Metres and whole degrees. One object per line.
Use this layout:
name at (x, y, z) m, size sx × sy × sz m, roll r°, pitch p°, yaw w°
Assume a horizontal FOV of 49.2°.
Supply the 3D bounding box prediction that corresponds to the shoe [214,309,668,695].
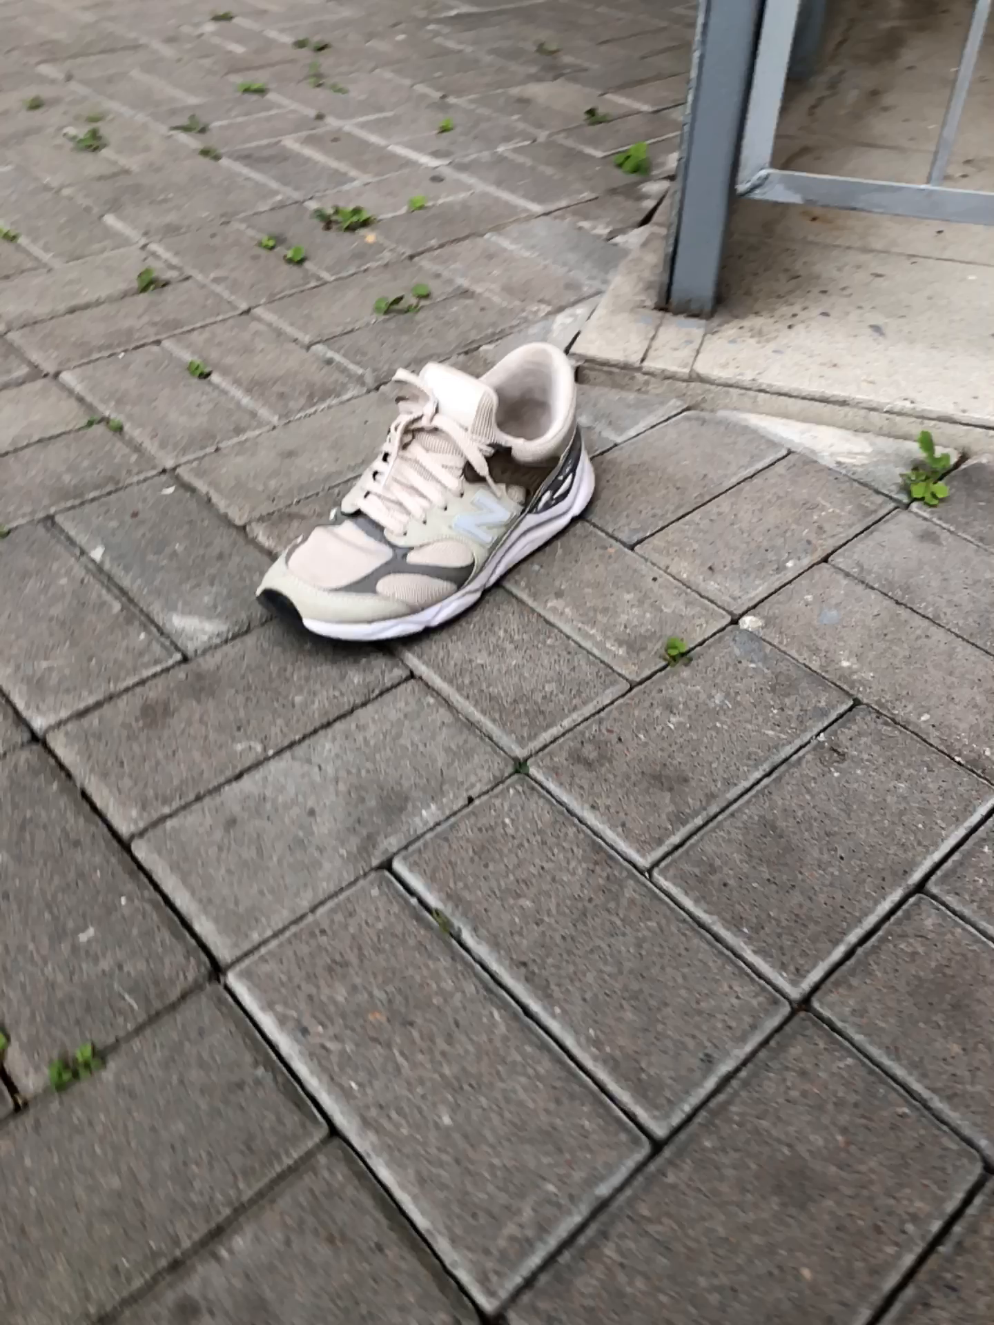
shoe at (-0.024, -0.122, 0.733) m, size 0.120 × 0.109 × 0.301 m, roll 30°, pitch 48°, yaw 28°
